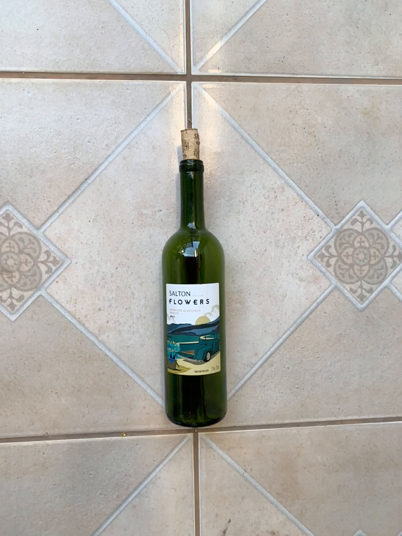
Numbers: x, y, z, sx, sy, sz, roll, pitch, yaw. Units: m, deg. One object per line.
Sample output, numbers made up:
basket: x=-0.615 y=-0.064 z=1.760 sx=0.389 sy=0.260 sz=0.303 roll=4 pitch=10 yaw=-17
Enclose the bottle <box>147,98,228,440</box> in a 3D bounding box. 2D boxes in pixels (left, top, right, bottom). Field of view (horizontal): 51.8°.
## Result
bottle: x=-0.010 y=0.004 z=0.465 sx=0.080 sy=0.080 sz=0.350 roll=0 pitch=95 yaw=3
